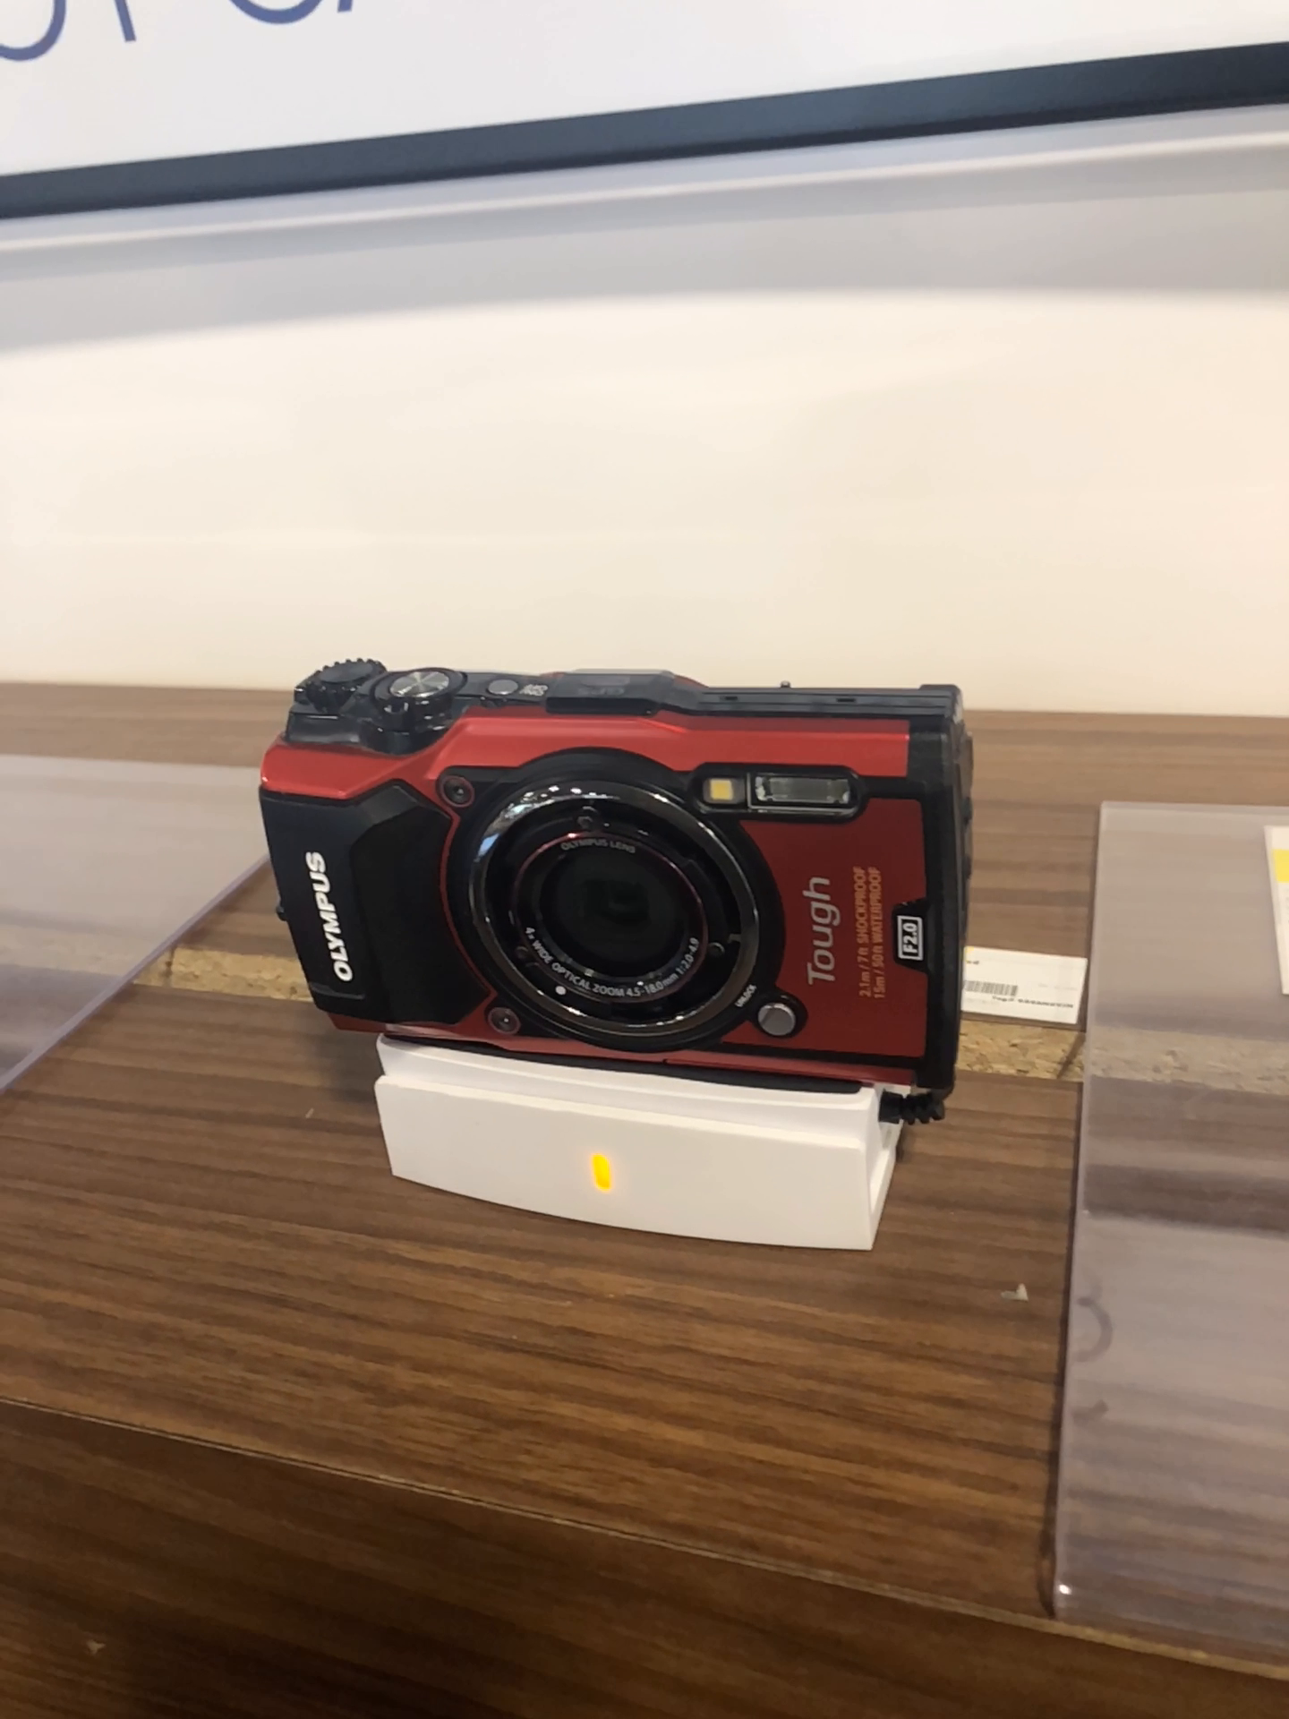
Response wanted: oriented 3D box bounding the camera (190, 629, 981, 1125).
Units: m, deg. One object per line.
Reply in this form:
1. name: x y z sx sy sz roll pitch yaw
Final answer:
1. camera: -0.008 0.000 0.229 0.117 0.064 0.030 4 28 19
